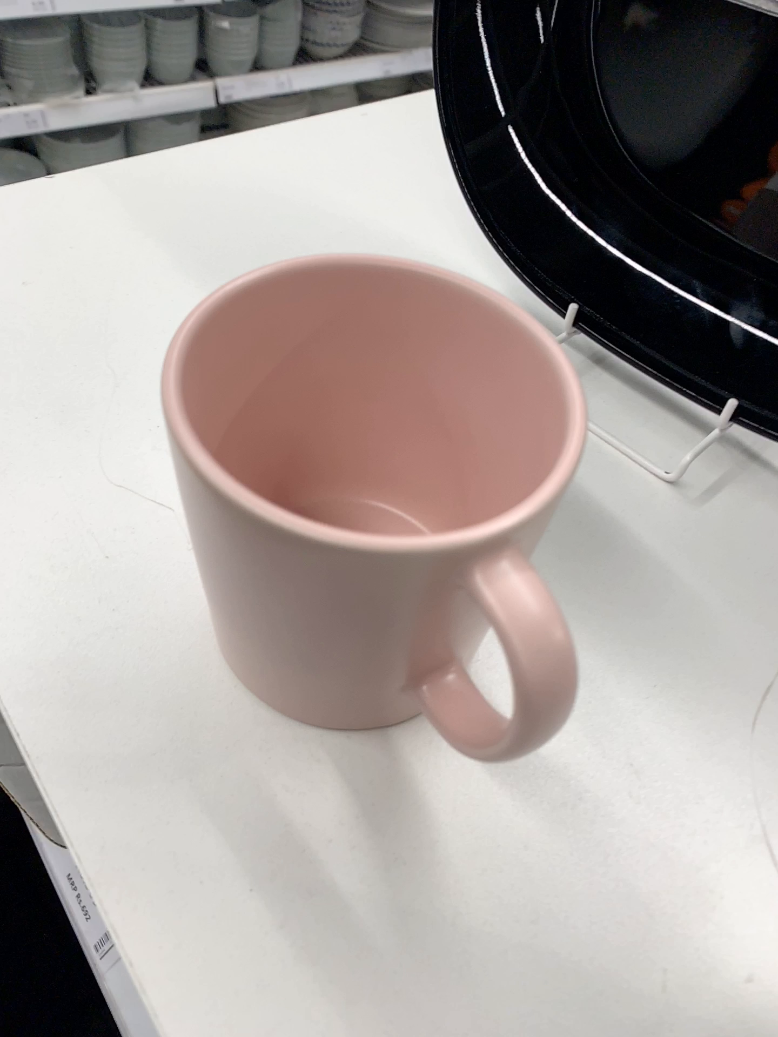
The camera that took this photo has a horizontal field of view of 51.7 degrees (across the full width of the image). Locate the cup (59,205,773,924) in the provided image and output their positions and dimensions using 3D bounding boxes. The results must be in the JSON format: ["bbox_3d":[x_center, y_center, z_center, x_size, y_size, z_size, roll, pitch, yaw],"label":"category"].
[{"bbox_3d":[-0.005,0.002,0.185,0.090,0.080,0.120,-20,57,-25],"label":"cup"}]
